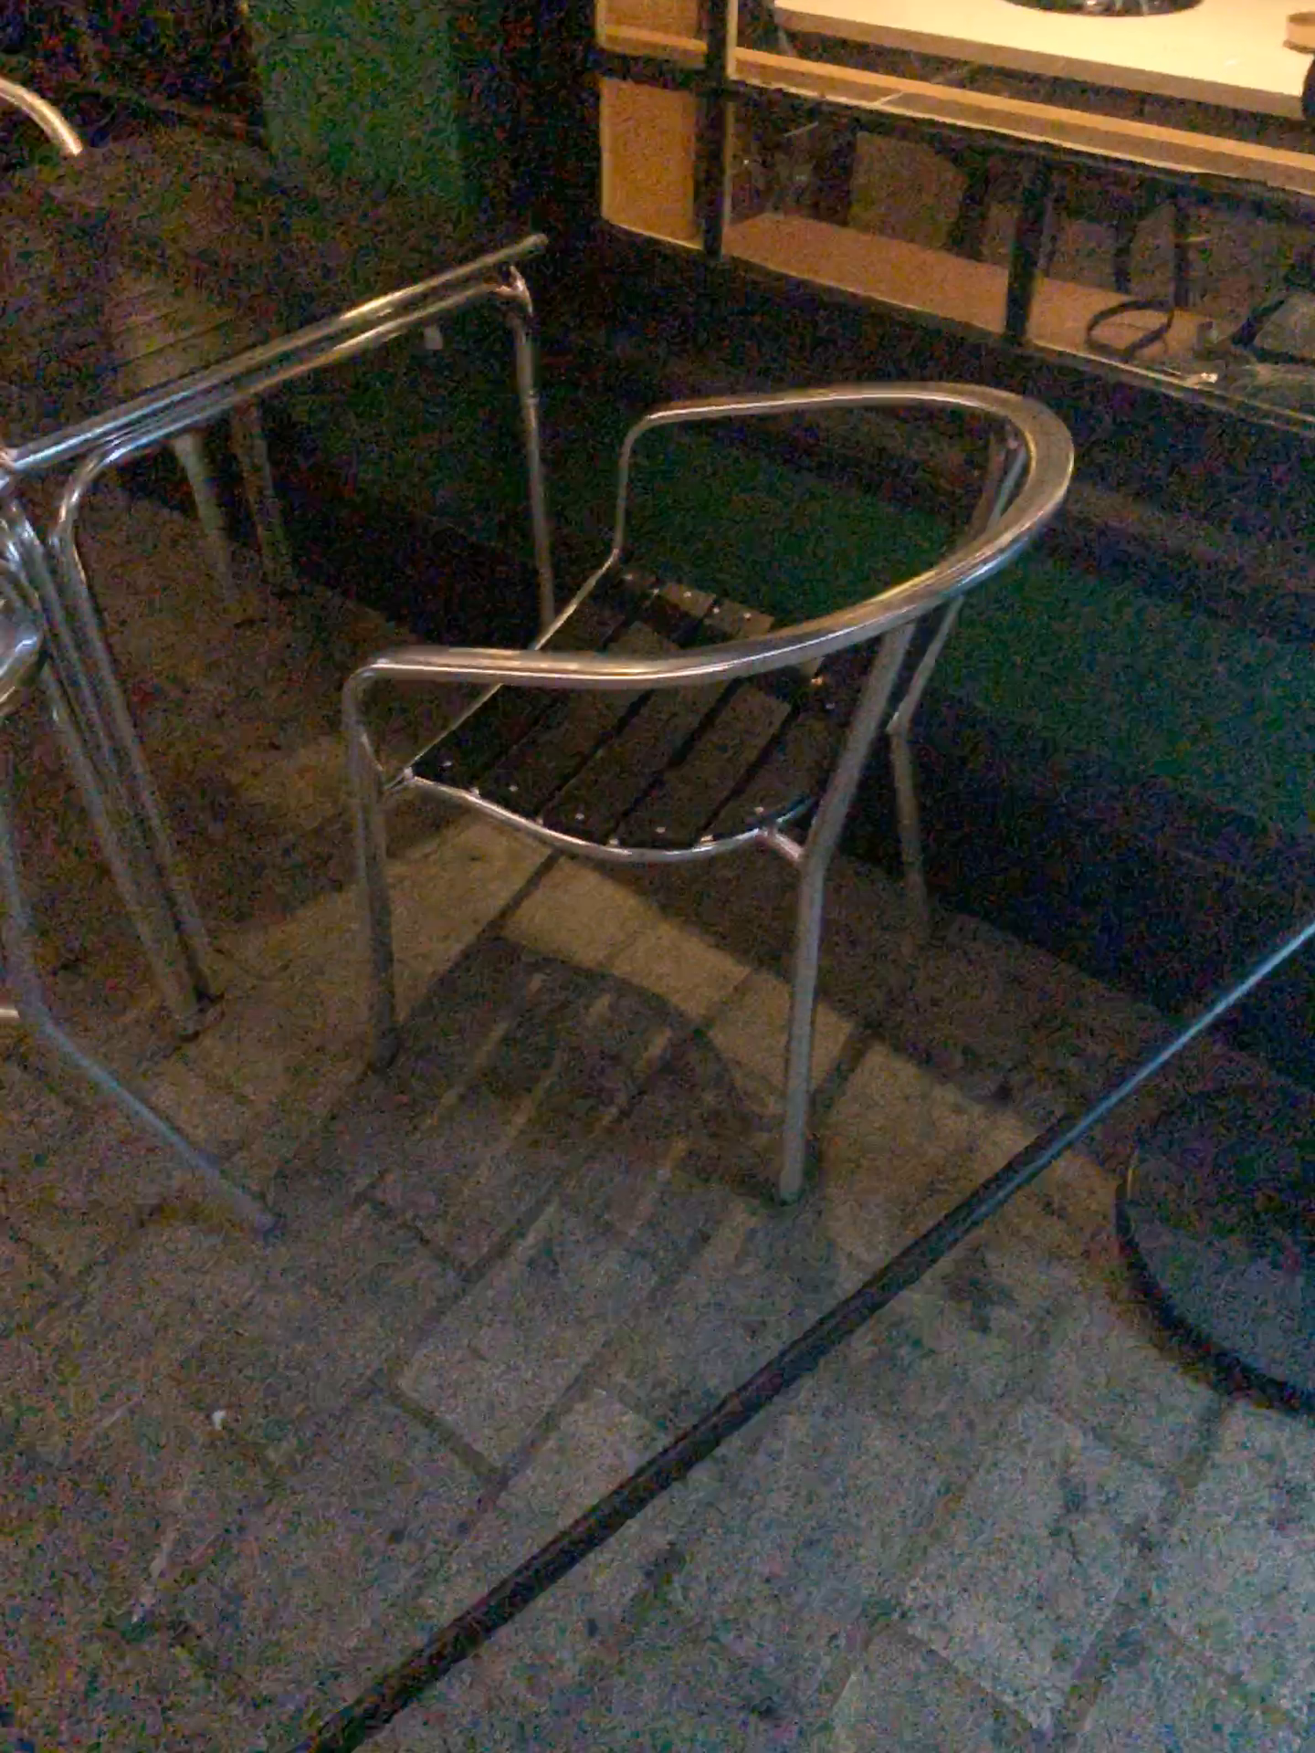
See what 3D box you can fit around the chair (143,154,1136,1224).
[{"bbox_3d":[0.027,-0.225,1.457,0.651,0.782,0.665,19,47,19],"label":"chair"}]
